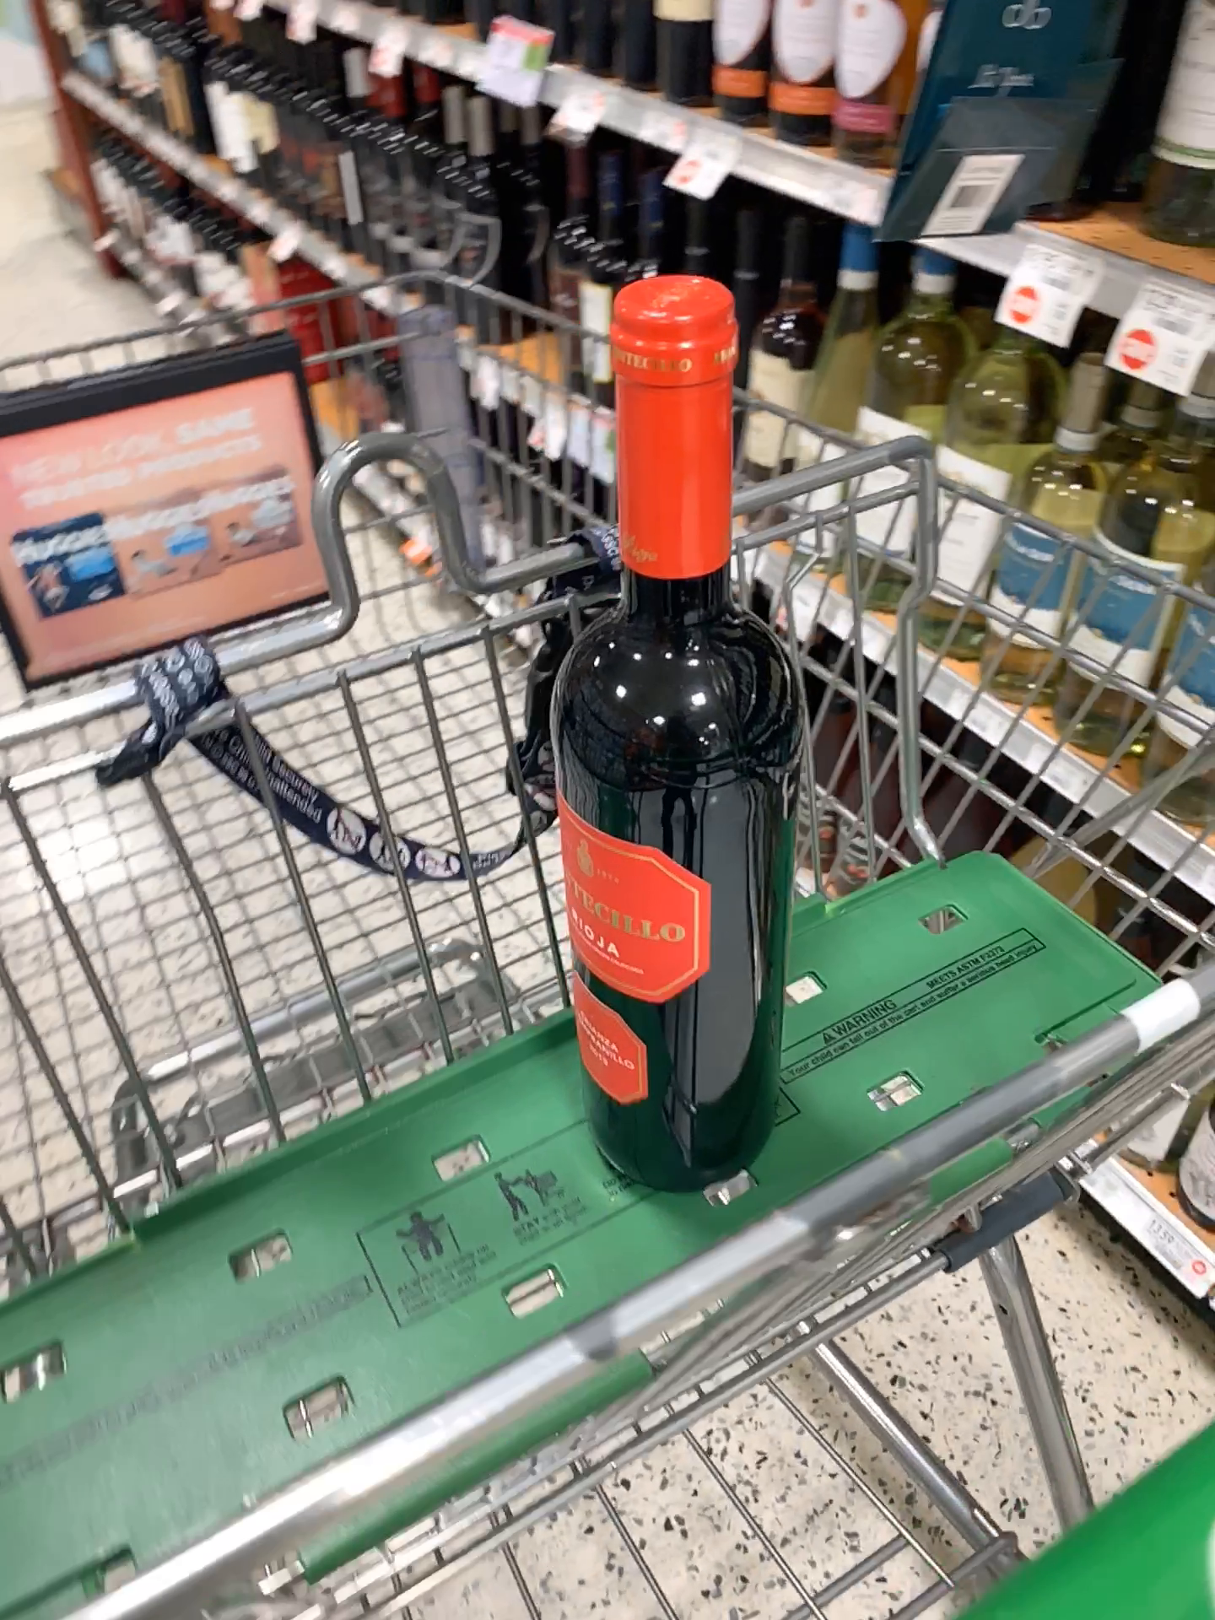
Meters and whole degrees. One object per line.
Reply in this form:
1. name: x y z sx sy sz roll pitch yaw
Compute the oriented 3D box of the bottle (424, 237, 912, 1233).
1. bottle: 0.018 -0.002 0.384 0.080 0.297 0.081 -2 40 1
